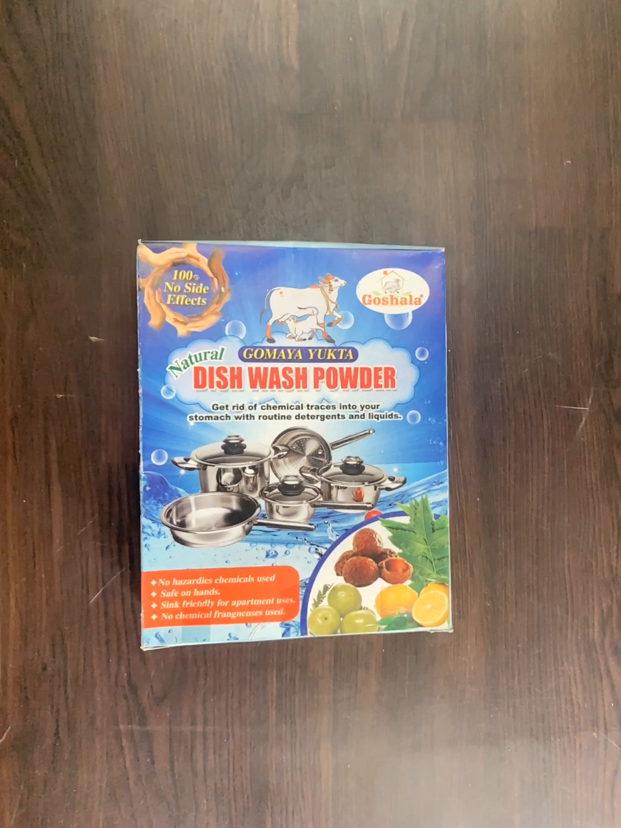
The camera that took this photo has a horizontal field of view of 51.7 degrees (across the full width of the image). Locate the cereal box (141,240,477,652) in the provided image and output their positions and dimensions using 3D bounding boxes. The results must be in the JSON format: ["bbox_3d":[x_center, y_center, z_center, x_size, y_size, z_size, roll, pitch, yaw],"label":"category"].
[{"bbox_3d":[-0.003,0.012,0.303,0.140,0.060,0.170,-1,87,-7],"label":"cereal box"}]
